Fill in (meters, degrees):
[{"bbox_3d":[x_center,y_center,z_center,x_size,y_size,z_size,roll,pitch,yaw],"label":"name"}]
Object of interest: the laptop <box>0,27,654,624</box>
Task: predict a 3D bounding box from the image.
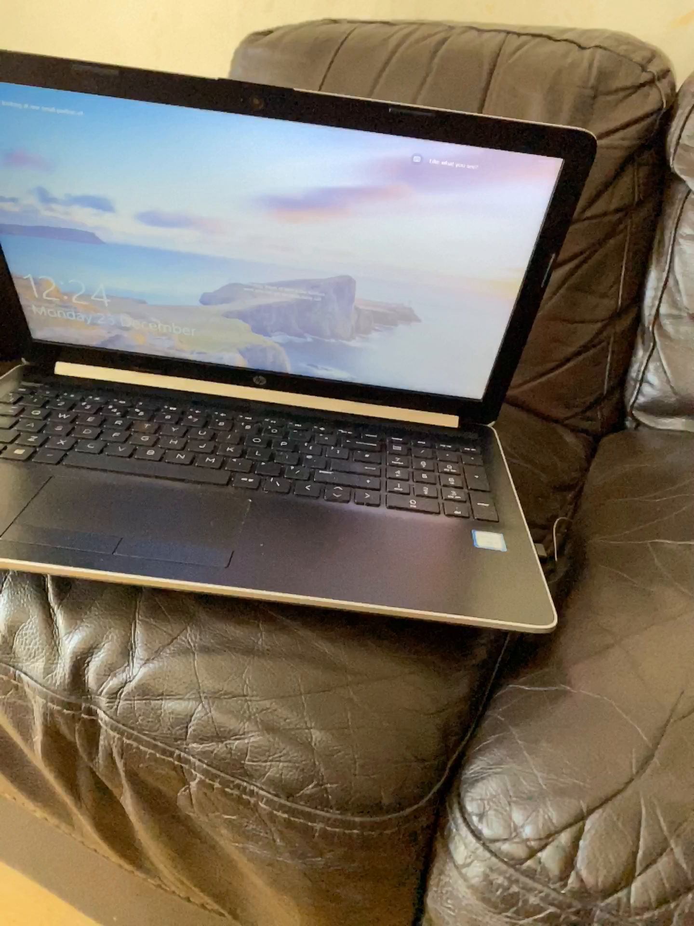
[{"bbox_3d":[-0.071,-0.094,0.412,0.371,0.211,0.238,6,26,0],"label":"laptop"}]
